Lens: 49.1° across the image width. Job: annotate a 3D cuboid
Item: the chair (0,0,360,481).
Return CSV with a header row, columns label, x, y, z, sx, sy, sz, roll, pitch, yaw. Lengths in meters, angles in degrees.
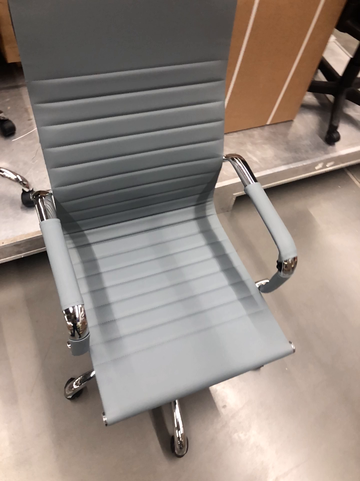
label,x,y,z,sx,sy,sz,roll,pitch,yaw
chair,-0.026,0.099,1.004,0.711,1.214,0.753,-14,60,-16
